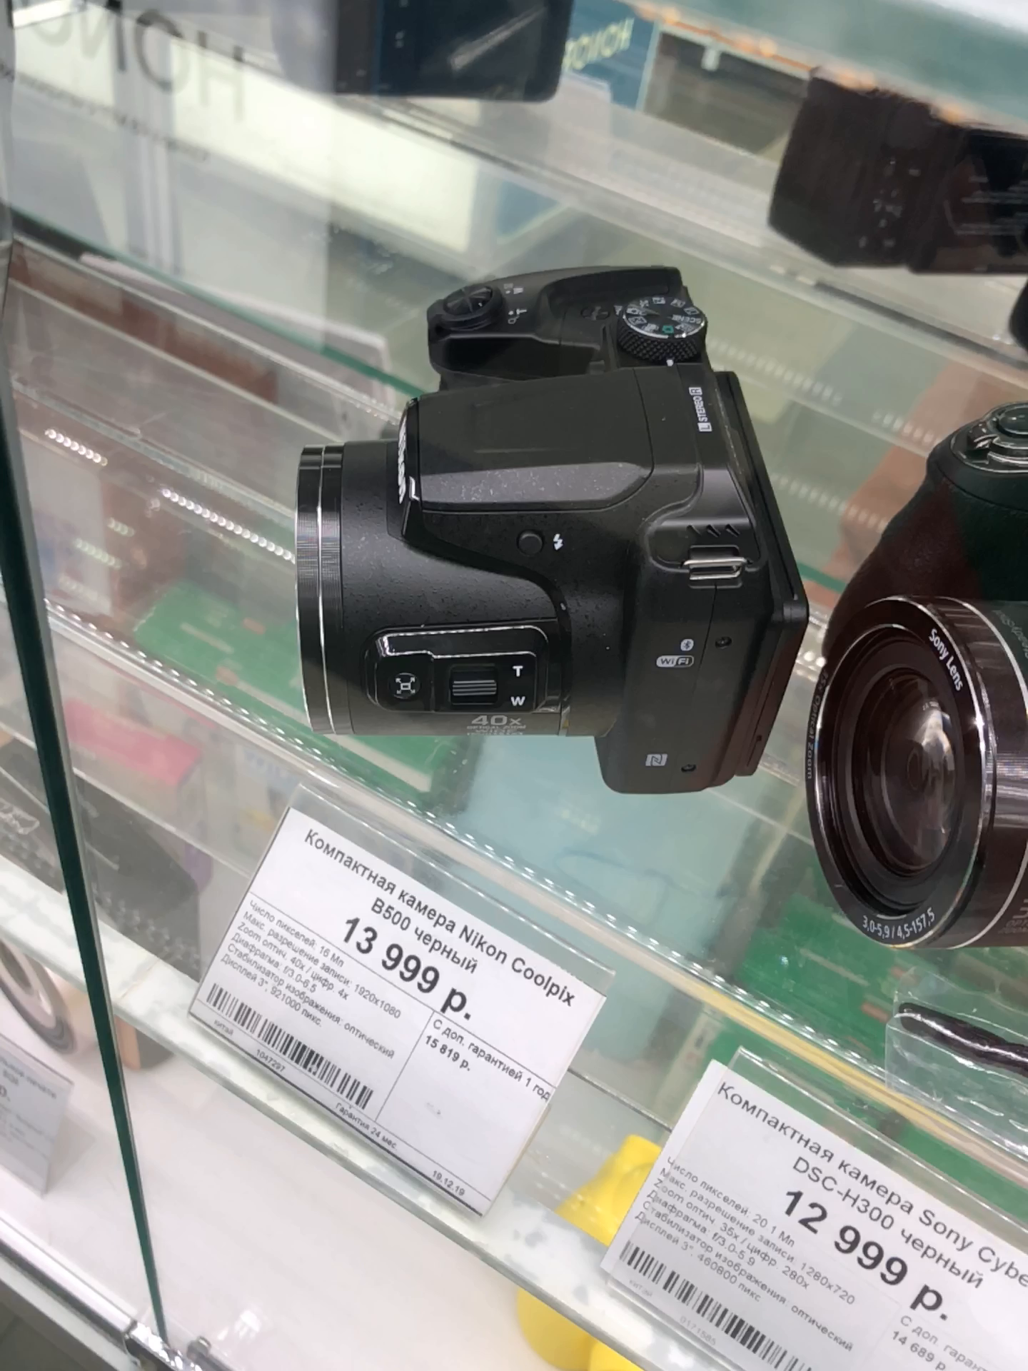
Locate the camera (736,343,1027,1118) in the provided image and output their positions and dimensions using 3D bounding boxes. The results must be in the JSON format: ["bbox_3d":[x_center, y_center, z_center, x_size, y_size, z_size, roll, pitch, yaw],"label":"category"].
[{"bbox_3d":[0.113,0.004,0.217,0.098,0.084,0.115,0,44,-9],"label":"camera"}]

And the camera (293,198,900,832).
[{"bbox_3d":[0.004,-0.037,0.248,0.098,0.080,0.110,1,46,-11],"label":"camera"}]
